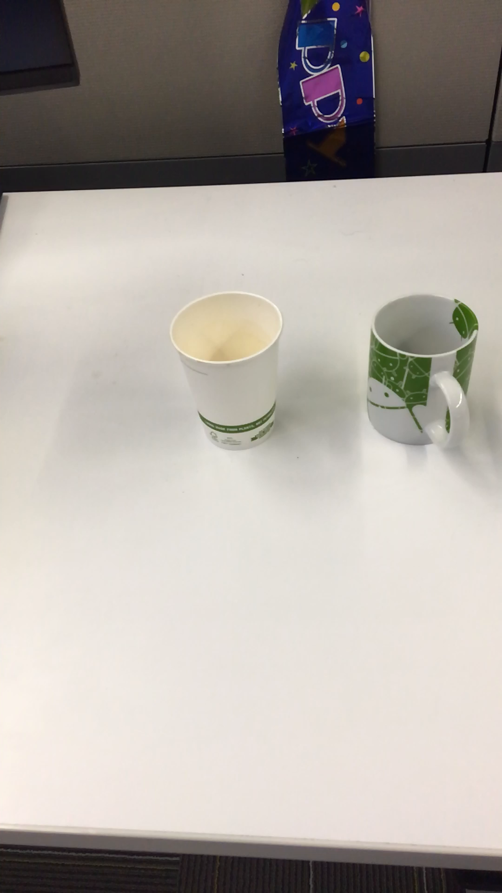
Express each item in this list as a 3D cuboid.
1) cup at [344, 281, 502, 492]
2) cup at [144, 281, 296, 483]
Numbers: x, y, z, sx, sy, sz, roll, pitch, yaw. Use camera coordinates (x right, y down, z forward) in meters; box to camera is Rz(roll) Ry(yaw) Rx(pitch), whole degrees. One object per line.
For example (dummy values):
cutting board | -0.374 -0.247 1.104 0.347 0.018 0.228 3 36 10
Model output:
cup | 0.137 -0.049 0.577 0.090 0.090 0.120 -14 47 -7
cup | -0.023 -0.051 0.586 0.090 0.110 0.090 -3 47 3
